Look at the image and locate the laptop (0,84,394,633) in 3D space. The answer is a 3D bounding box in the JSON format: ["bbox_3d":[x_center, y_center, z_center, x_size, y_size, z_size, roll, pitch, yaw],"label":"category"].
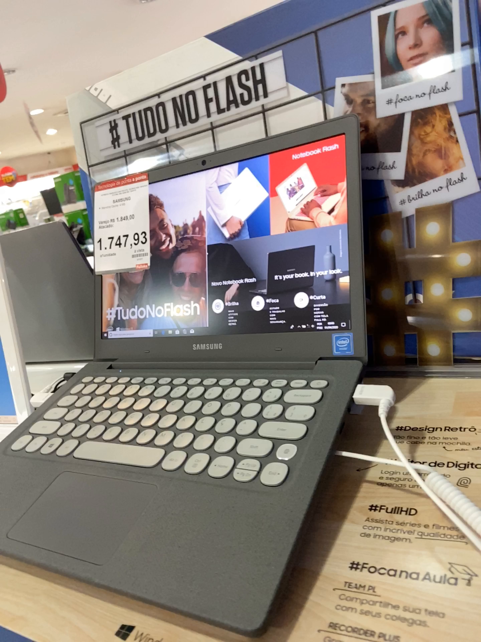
[{"bbox_3d":[-0.082,-0.020,0.420,0.322,0.181,0.346,-4,28,32],"label":"laptop"}]
